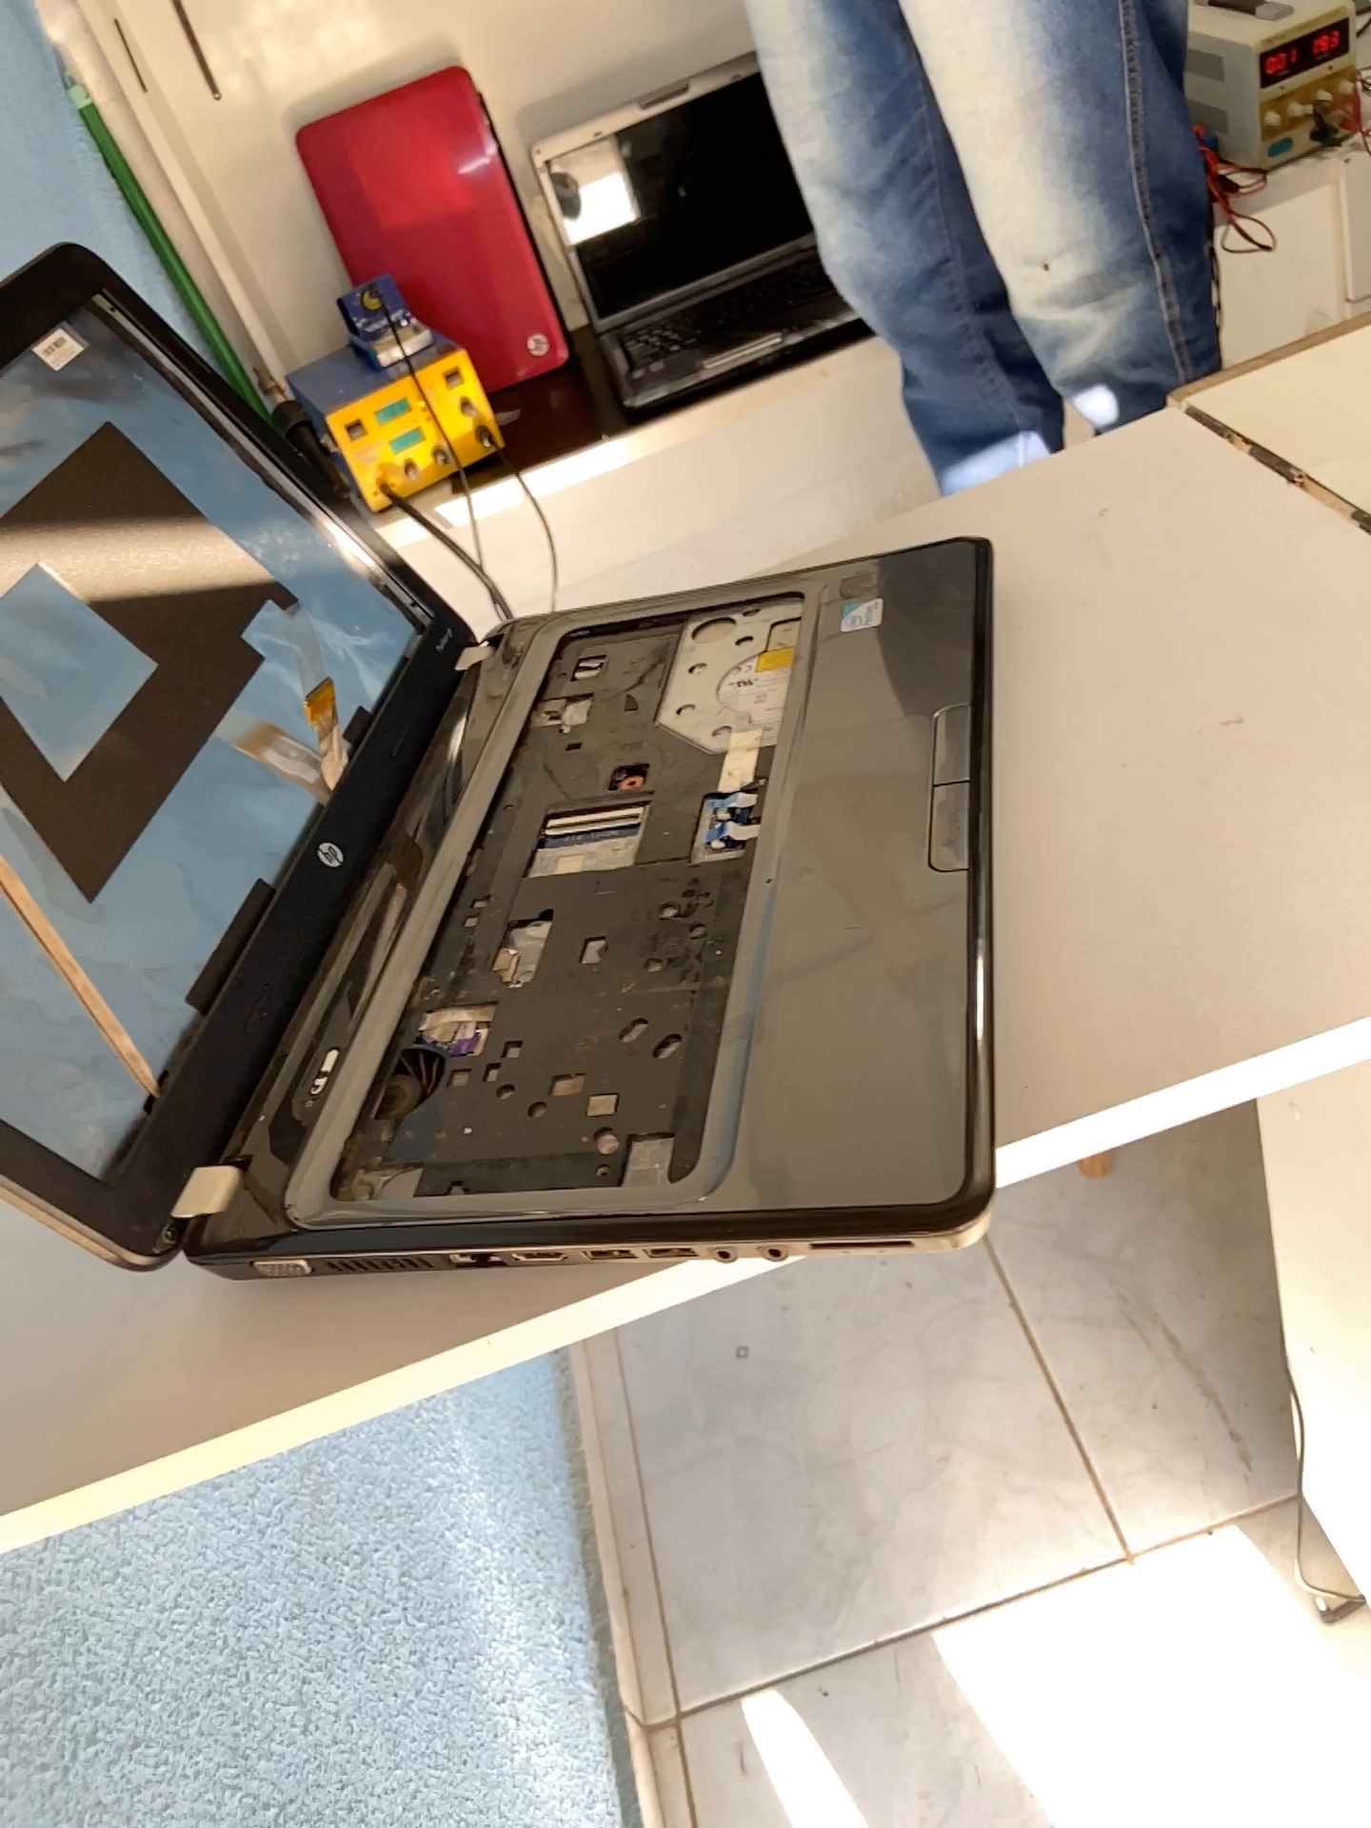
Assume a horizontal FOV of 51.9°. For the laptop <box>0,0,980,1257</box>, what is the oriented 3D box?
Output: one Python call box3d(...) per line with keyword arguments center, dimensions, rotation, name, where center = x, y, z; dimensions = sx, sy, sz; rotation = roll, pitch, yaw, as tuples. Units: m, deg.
box3d(center=(-0.092, -0.096, 0.445), dimensions=(0.323, 0.194, 0.337), rotation=(-7, 40, 19), name="laptop")
